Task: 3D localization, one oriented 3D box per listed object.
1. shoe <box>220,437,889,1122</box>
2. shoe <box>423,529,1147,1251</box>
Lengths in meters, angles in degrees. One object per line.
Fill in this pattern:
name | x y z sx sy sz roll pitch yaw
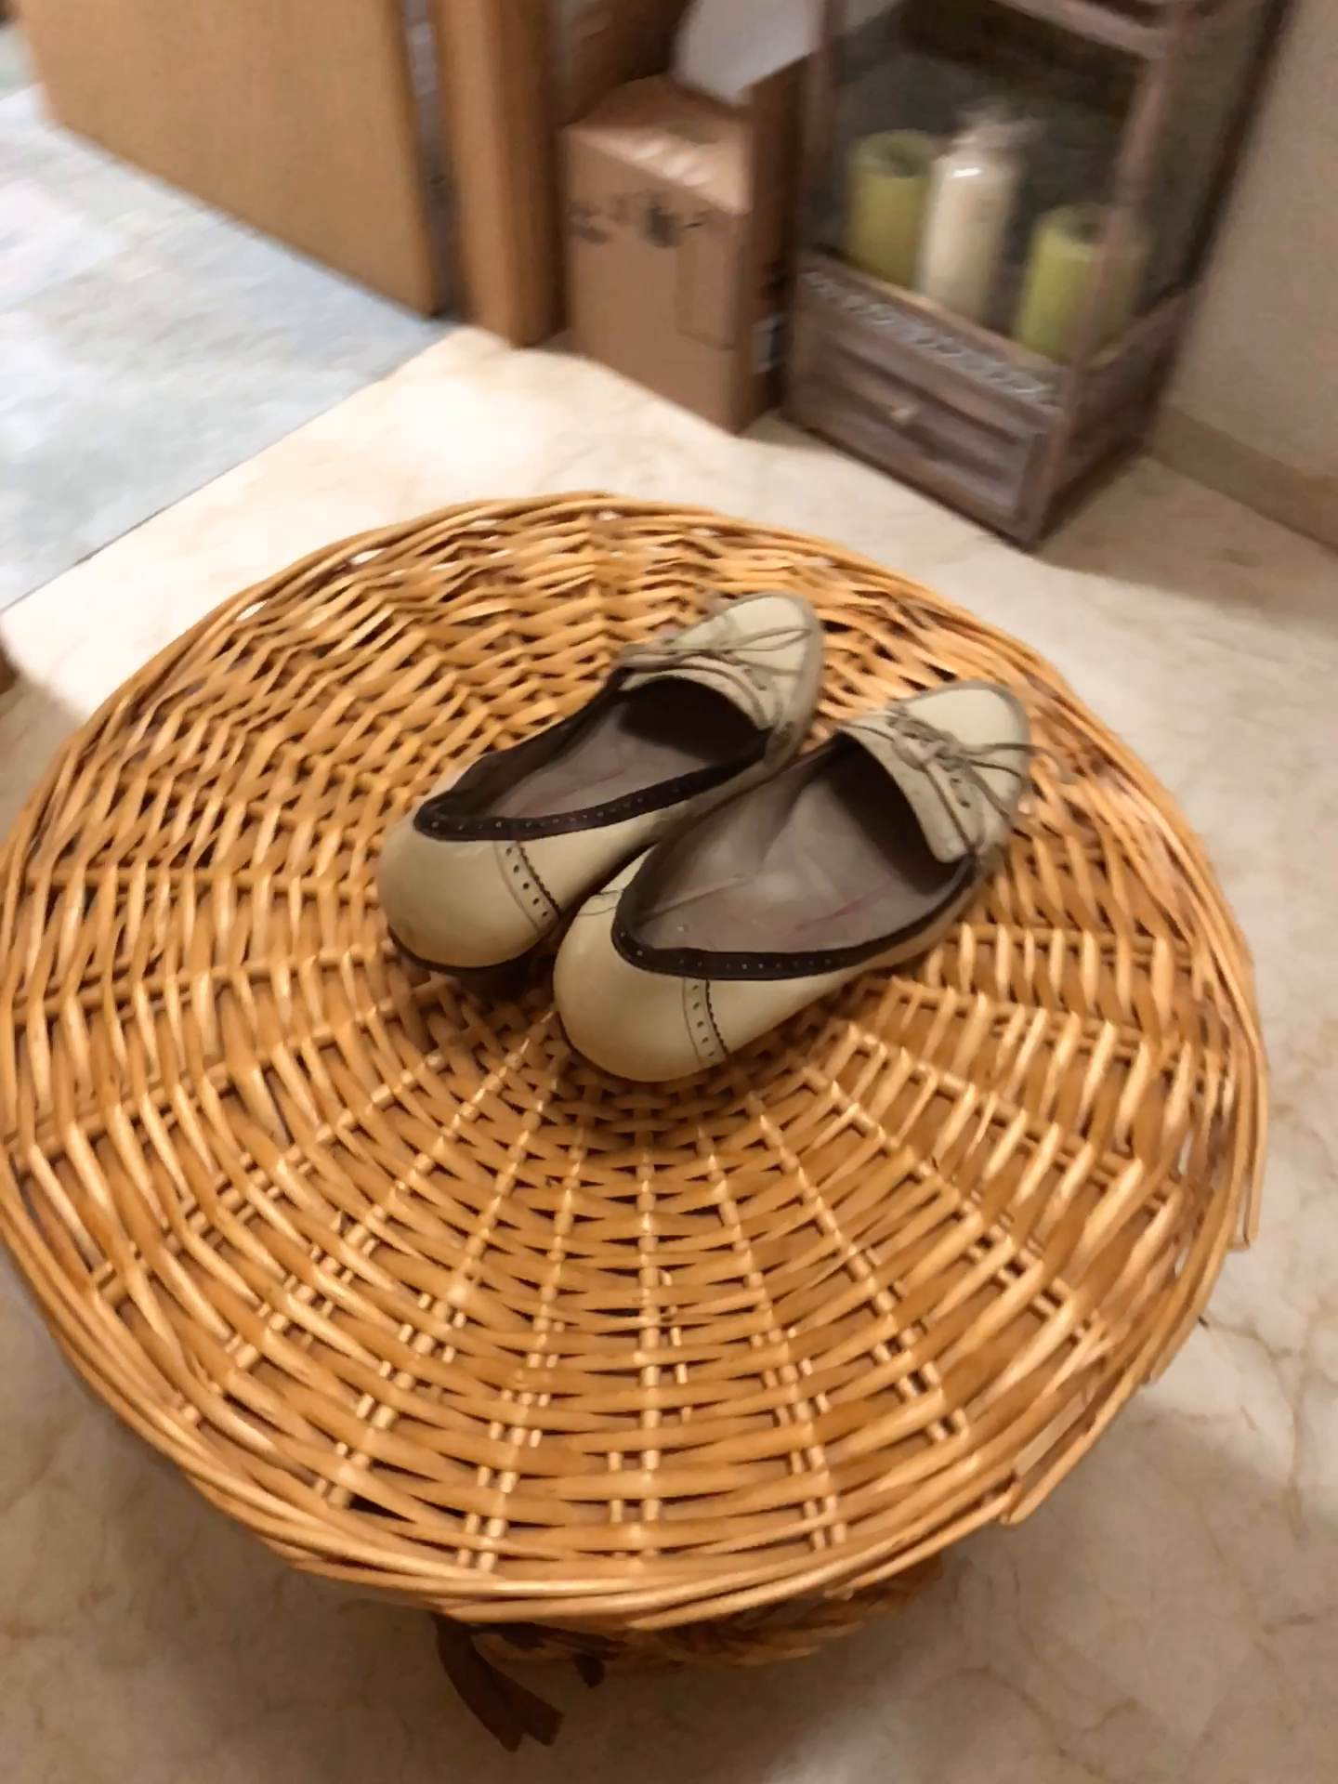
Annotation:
shoe | -0.034 -0.052 0.574 0.100 0.090 0.260 34 60 15
shoe | 0.045 -0.007 0.553 0.100 0.110 0.260 41 63 20
